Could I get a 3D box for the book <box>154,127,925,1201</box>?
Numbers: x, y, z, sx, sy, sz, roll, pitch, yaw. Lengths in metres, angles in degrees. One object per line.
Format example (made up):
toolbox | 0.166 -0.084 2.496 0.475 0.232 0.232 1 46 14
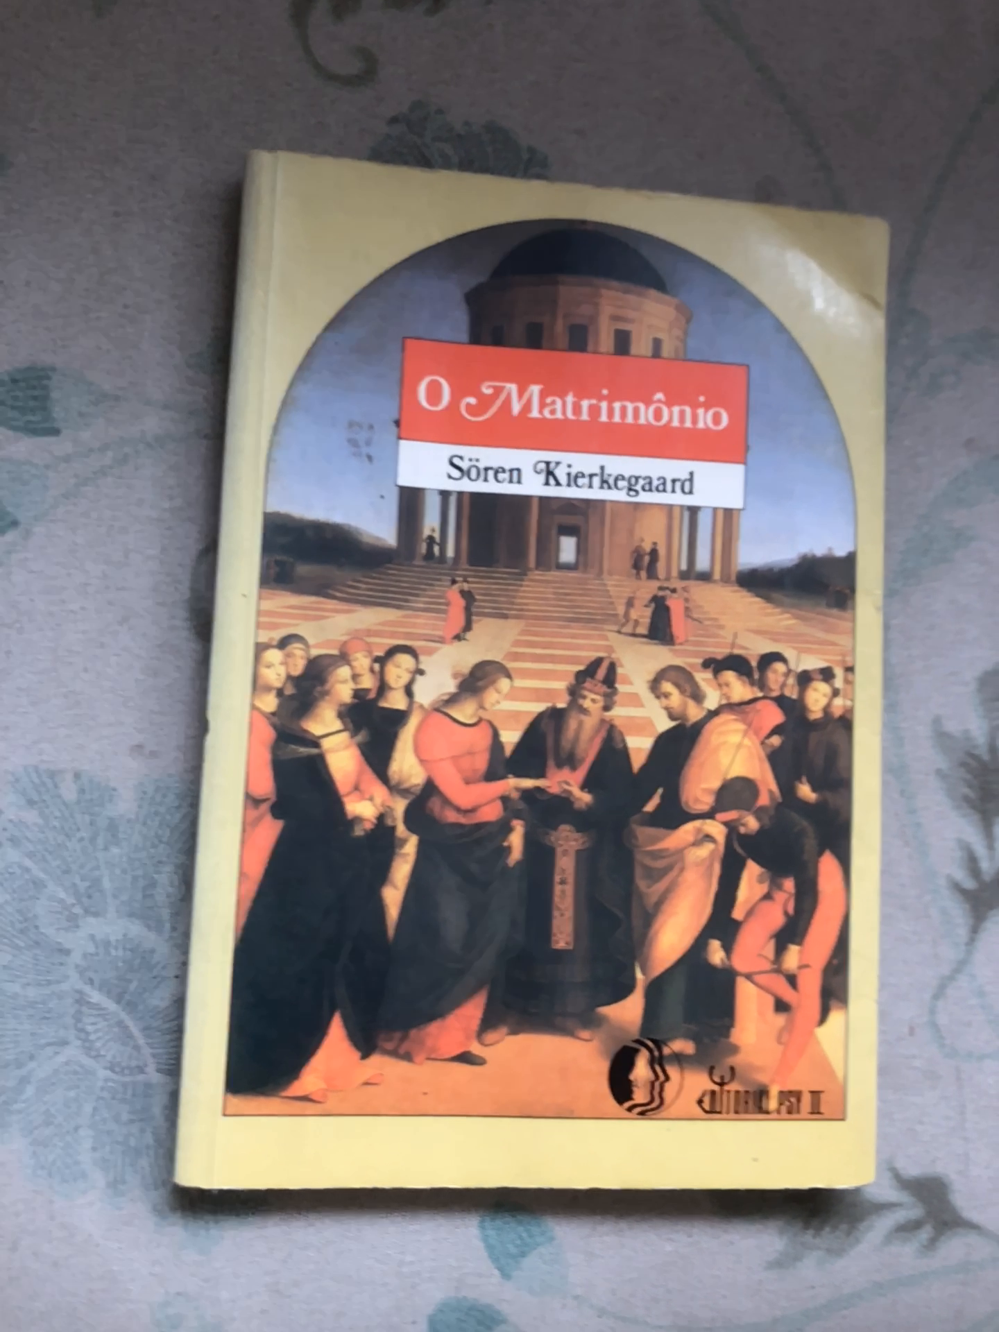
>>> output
book | 0.012 0.001 0.228 0.140 0.020 0.200 4 86 -7
